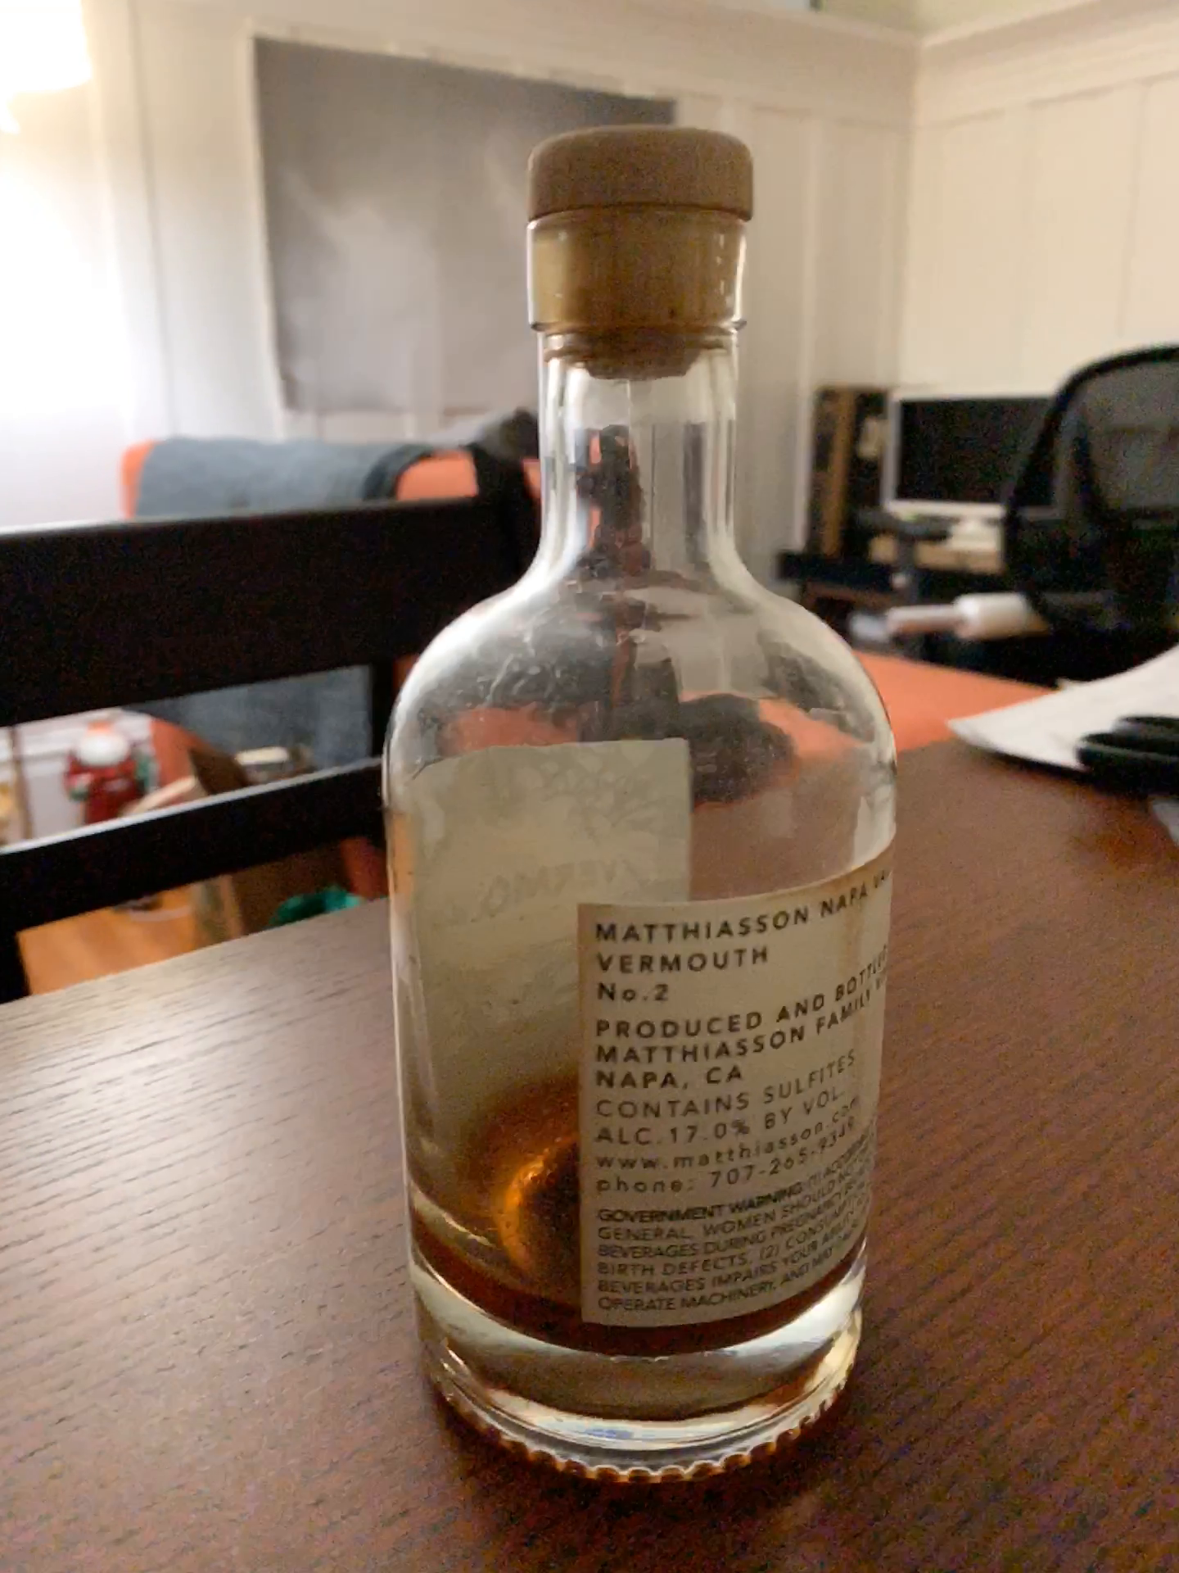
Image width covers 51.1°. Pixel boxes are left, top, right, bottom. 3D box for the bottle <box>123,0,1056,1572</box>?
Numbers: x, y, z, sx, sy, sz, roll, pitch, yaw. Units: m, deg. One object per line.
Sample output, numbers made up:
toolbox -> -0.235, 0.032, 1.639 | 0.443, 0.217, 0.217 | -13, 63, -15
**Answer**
bottle -> 0.000, -0.001, 0.186 | 0.090, 0.189, 0.080 | -14, 21, -39
